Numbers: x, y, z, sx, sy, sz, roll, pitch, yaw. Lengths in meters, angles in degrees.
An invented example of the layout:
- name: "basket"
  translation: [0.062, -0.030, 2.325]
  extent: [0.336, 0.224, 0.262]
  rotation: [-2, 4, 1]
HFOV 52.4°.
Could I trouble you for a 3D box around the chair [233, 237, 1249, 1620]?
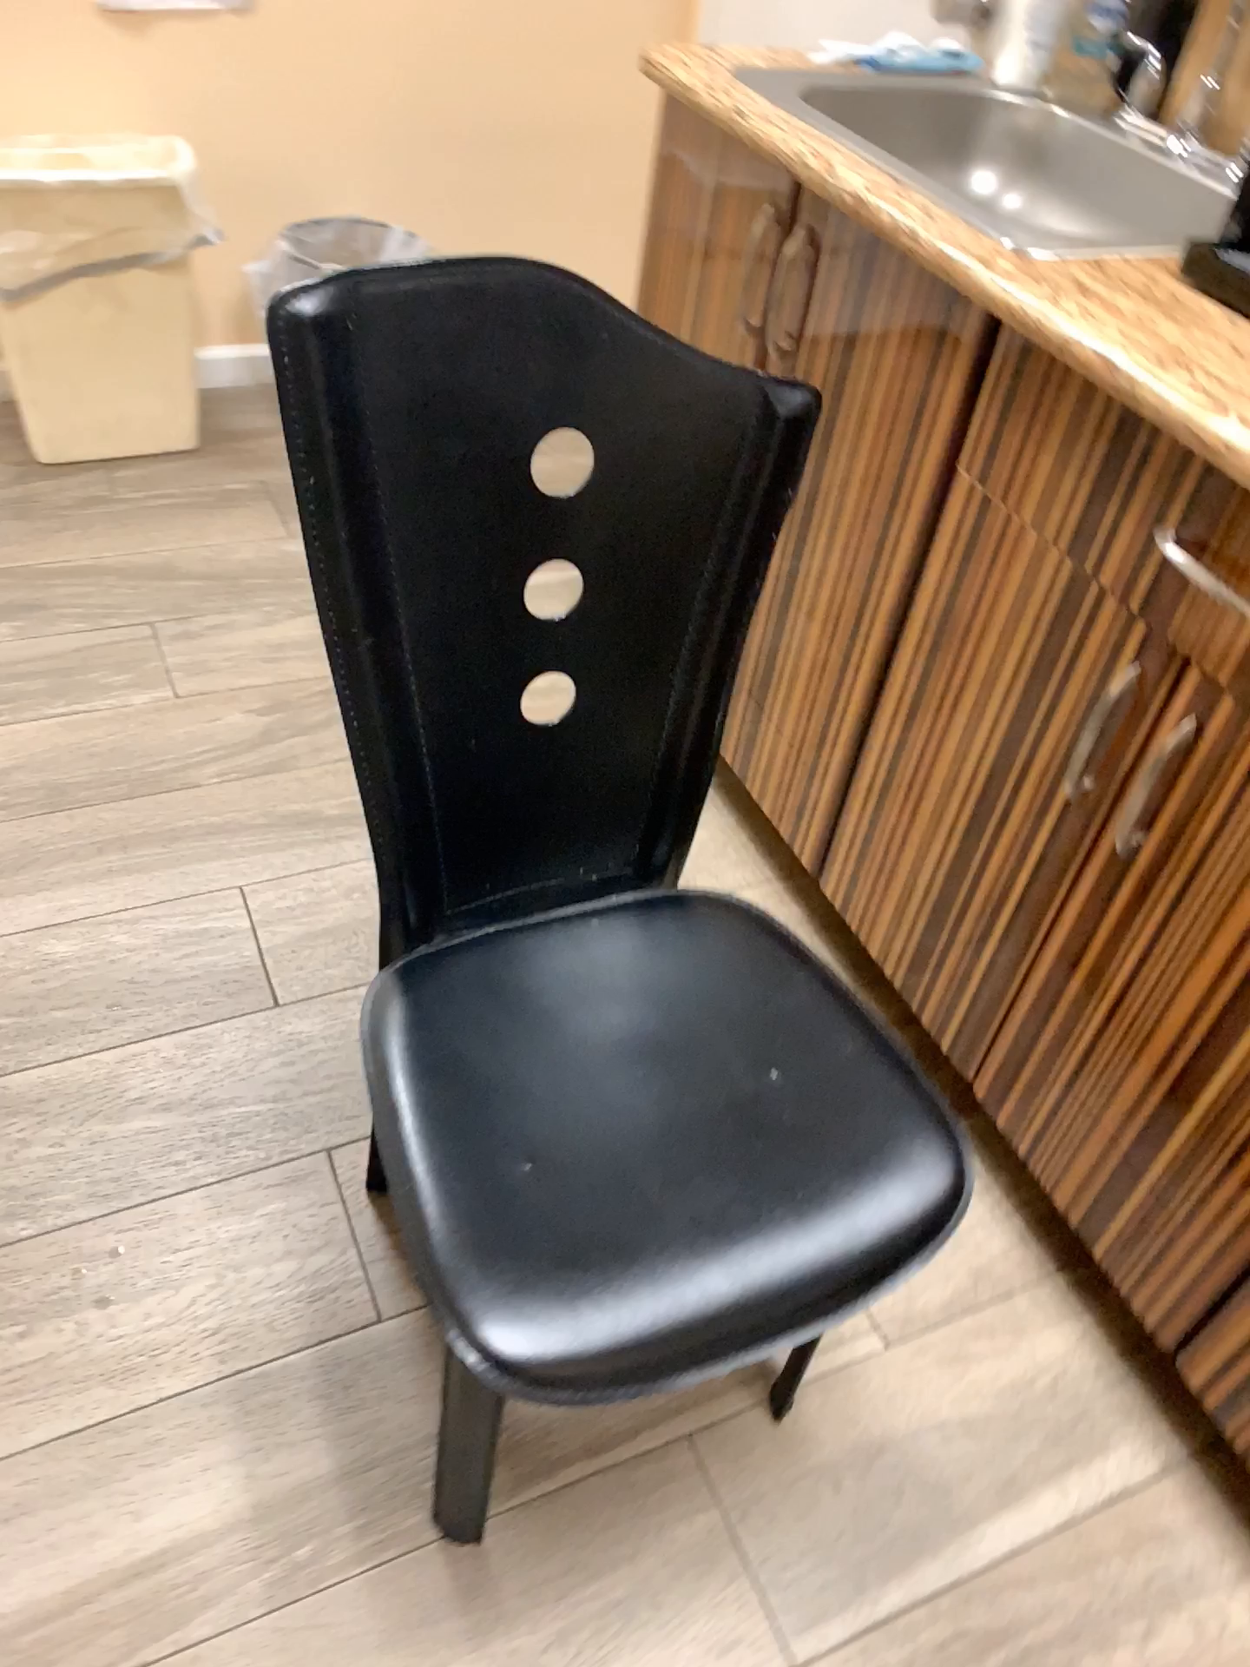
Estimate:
- name: "chair"
  translation: [0.018, 0.117, 0.989]
  extent: [0.462, 0.941, 0.475]
  rotation: [-12, 47, -22]
